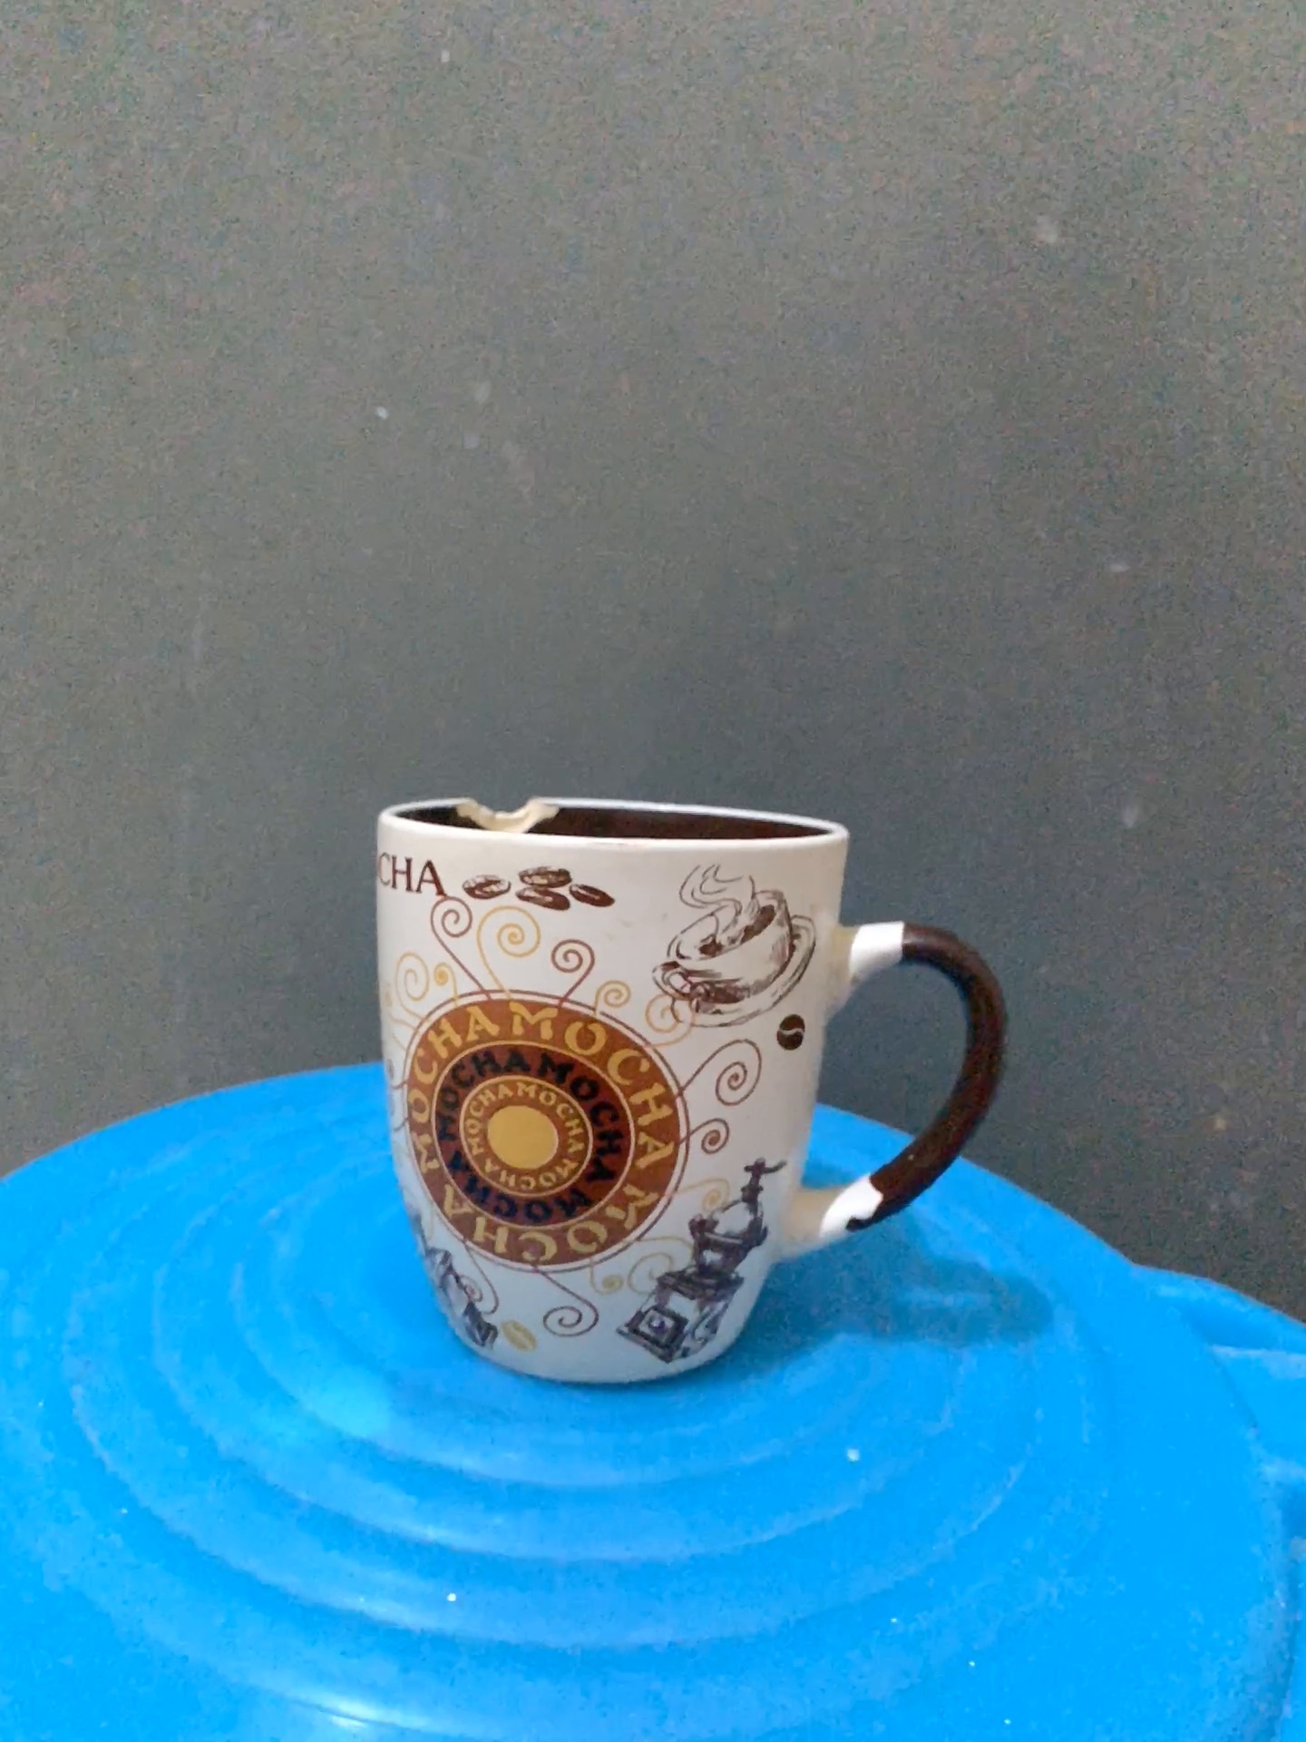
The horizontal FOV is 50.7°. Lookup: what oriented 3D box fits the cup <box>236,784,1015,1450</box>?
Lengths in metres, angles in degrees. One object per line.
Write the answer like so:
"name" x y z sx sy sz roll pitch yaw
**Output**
"cup" 0.000 0.031 0.236 0.110 0.080 0.080 5 7 12
